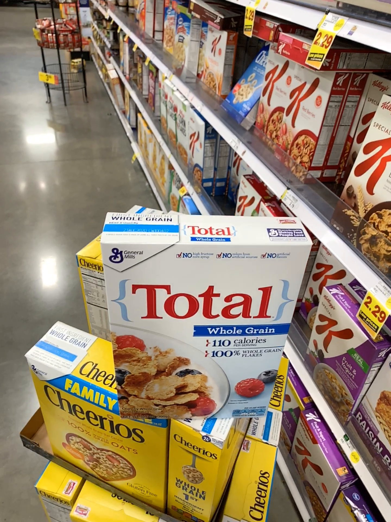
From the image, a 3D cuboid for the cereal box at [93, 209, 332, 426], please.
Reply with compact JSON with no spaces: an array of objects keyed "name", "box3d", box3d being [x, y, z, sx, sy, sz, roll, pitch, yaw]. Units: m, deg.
[{"name":"cereal box","box3d":[0.009,0.084,0.462,0.210,0.298,0.050,1,38,-3]}]
